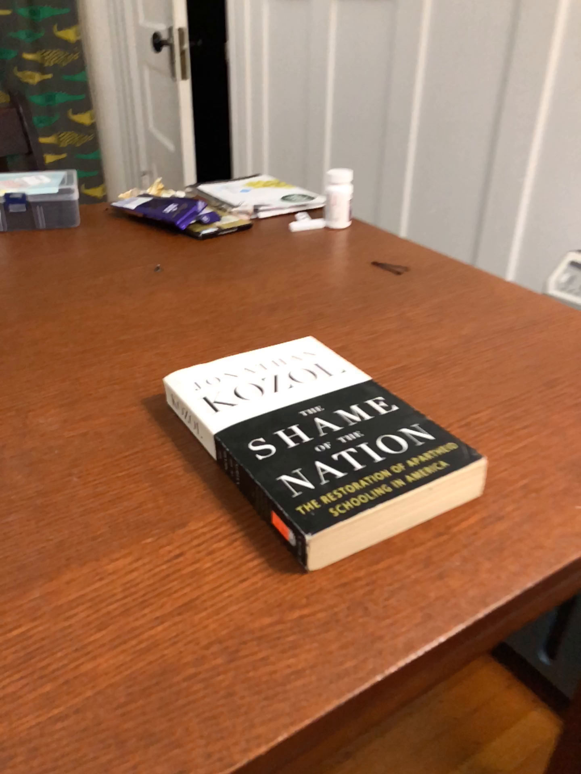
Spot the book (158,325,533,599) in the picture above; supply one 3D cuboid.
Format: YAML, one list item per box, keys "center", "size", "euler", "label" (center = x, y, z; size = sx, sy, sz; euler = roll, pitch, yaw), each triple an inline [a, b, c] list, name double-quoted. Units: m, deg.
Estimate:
- center: [0.025, 0.030, 0.459]
  size: [0.160, 0.030, 0.231]
  euler: [-16, 35, -27]
  label: "book"
